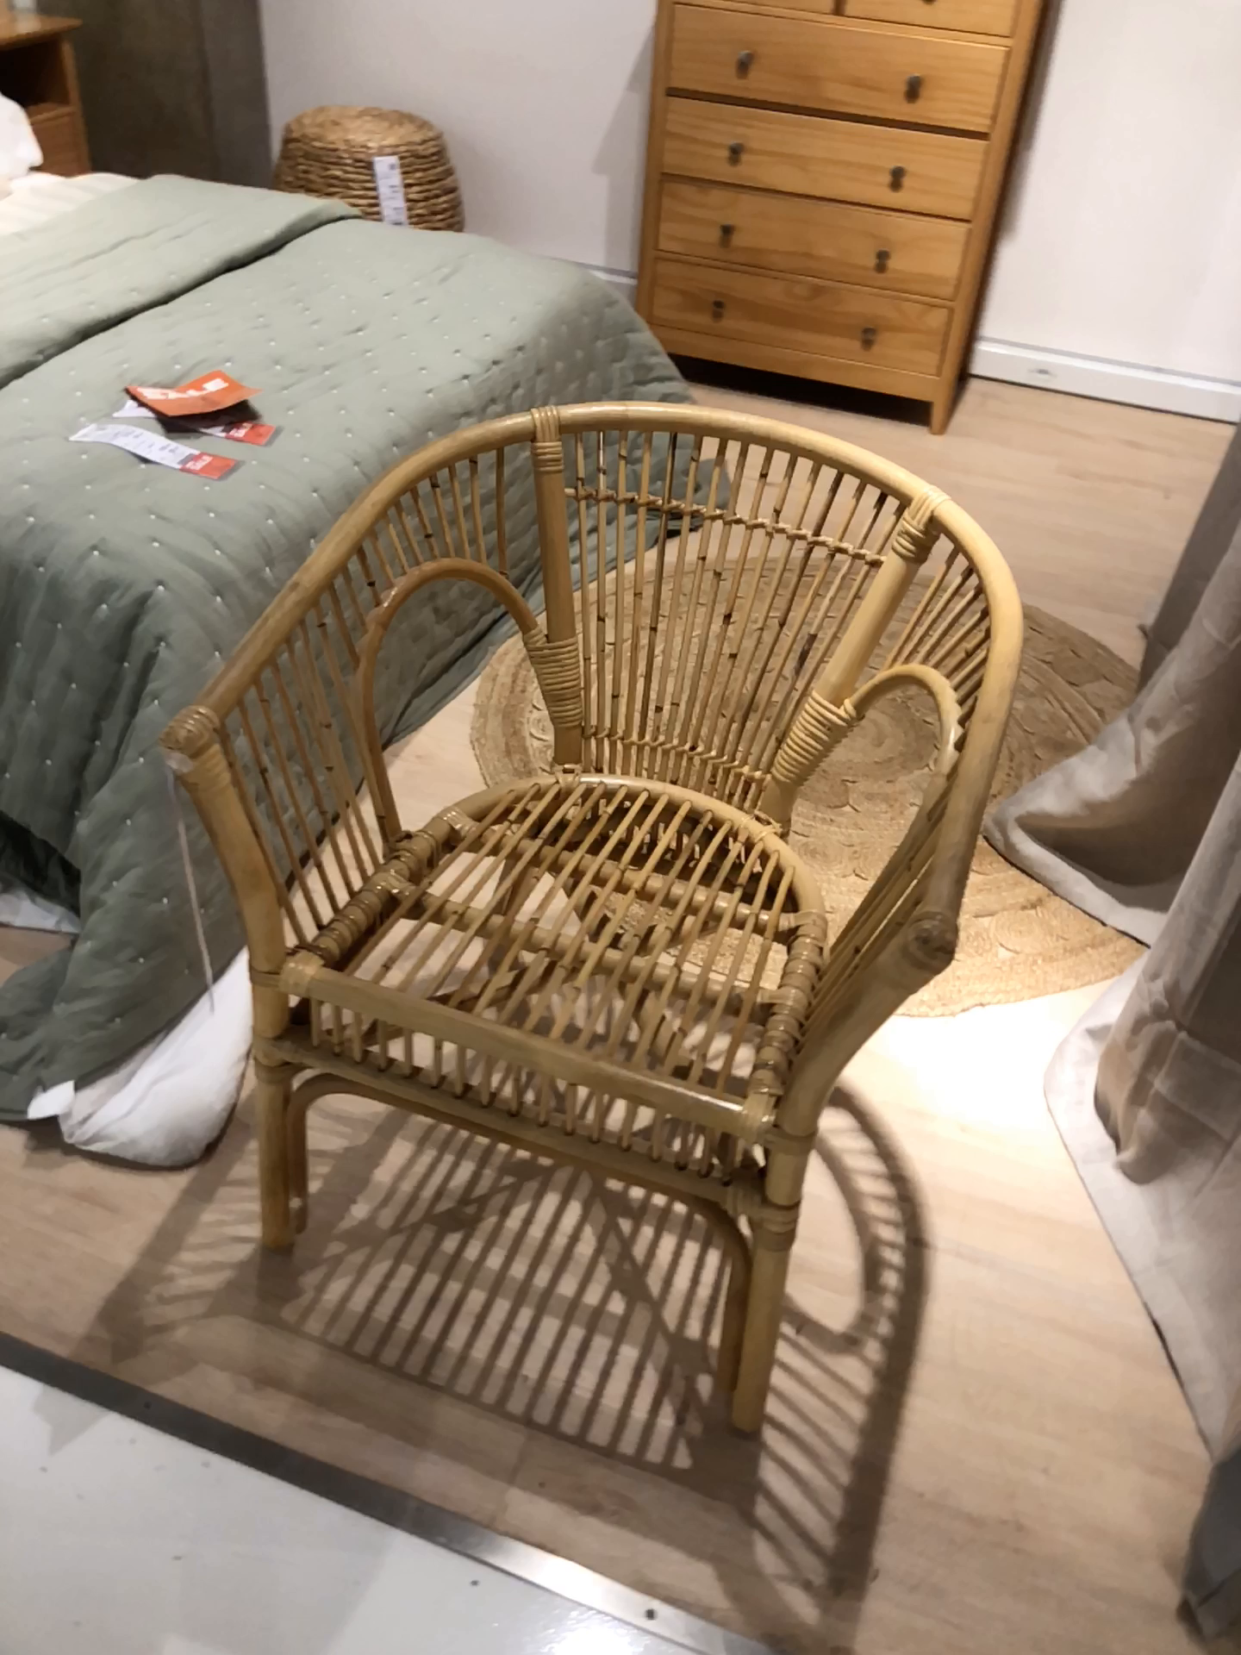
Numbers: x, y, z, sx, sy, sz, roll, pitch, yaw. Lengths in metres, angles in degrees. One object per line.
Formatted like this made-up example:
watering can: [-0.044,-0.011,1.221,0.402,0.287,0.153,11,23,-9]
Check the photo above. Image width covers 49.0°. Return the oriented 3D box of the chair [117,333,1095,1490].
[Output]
chair: [0.021,0.047,1.317,0.590,0.754,0.635,17,39,14]
